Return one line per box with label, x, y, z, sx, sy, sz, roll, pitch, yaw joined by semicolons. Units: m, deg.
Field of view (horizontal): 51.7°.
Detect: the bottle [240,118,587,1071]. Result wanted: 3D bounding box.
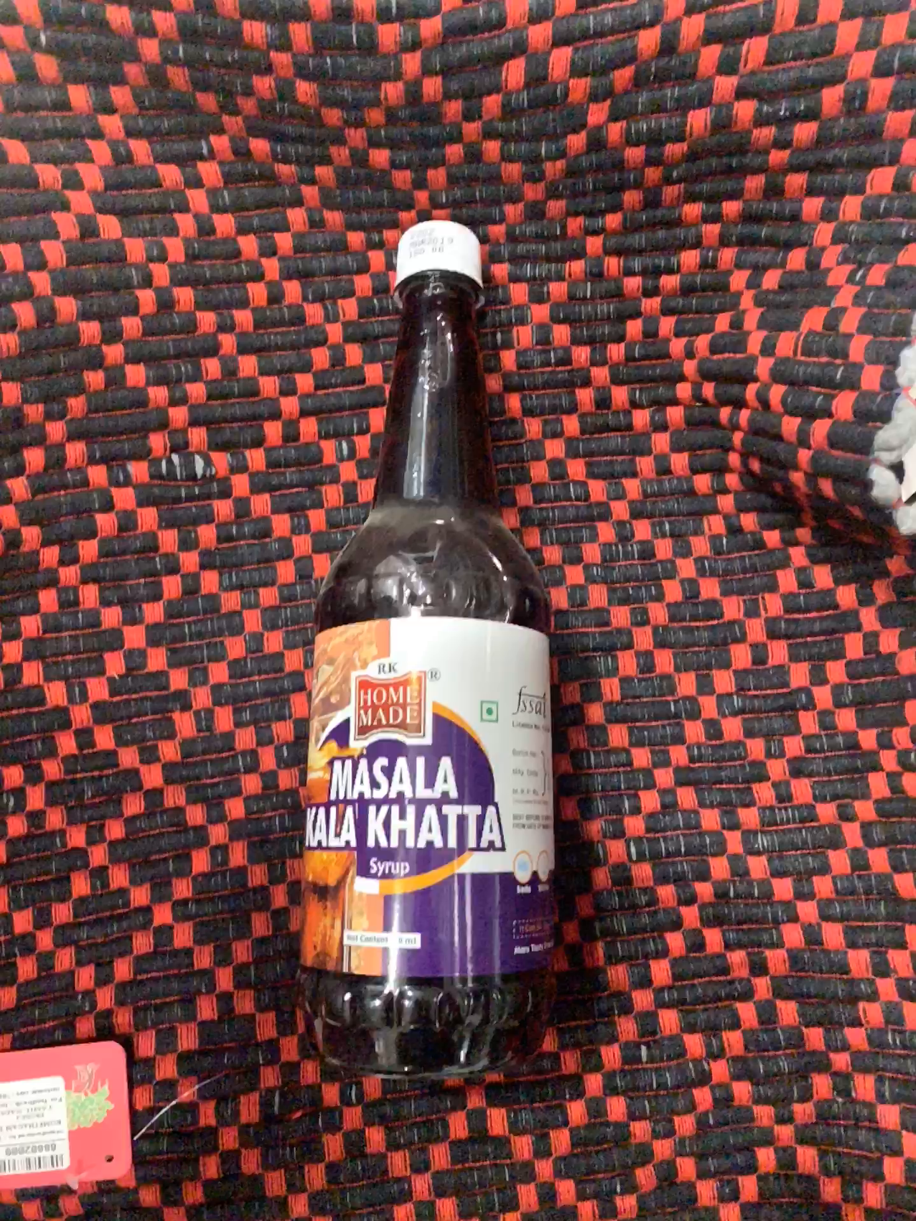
bottle;-0.008;-0.010;0.290;0.080;0.080;0.260;-2;74;6
